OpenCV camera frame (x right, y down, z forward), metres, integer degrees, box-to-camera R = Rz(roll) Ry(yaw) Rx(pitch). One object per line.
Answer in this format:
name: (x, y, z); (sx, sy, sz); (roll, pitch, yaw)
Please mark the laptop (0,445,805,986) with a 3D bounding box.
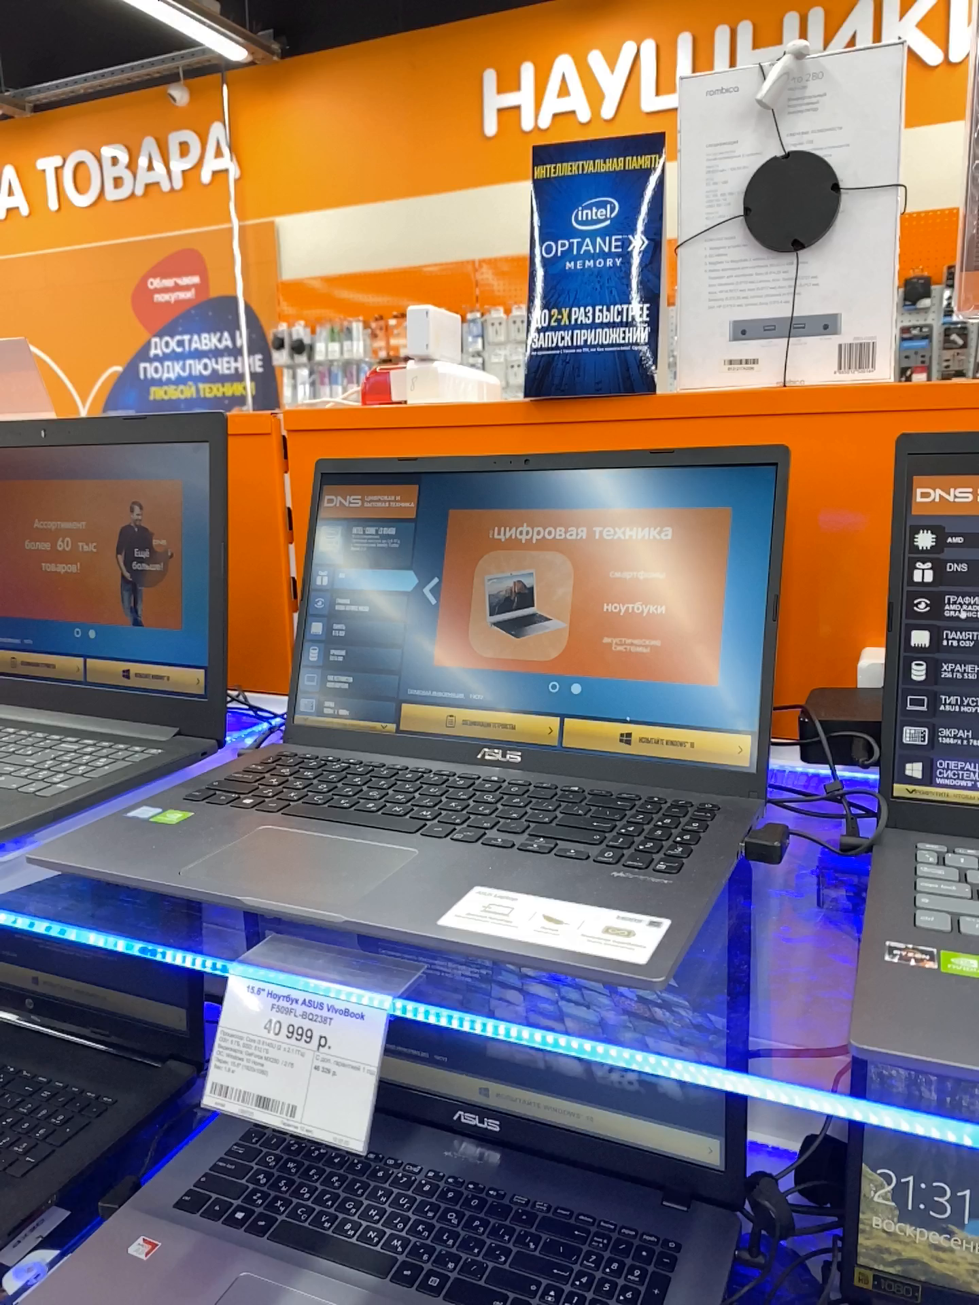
laptop: (-0.024, -0.010, 0.592); (0.358, 0.211, 0.306); (4, 12, 24)
